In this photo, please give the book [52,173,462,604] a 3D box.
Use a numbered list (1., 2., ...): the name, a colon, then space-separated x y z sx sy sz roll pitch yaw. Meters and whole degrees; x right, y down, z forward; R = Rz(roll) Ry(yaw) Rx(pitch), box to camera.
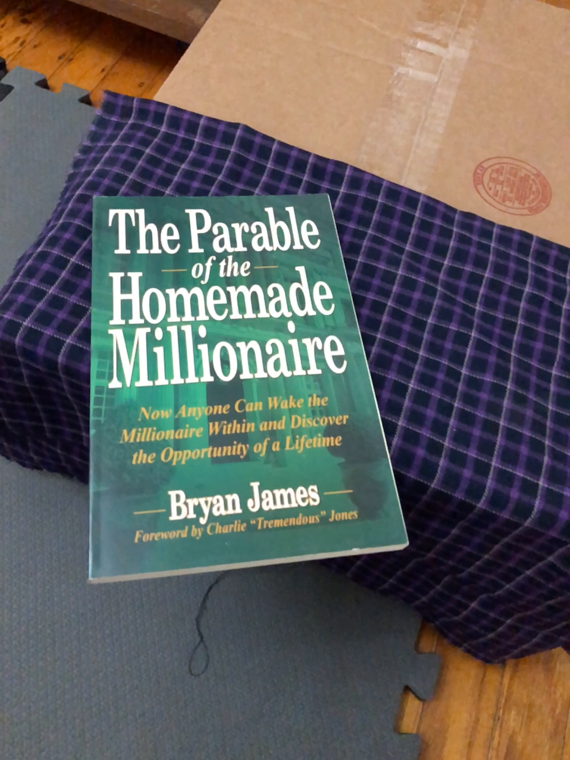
1. book: -0.022 -0.014 0.301 0.160 0.020 0.211 -4 62 -9
